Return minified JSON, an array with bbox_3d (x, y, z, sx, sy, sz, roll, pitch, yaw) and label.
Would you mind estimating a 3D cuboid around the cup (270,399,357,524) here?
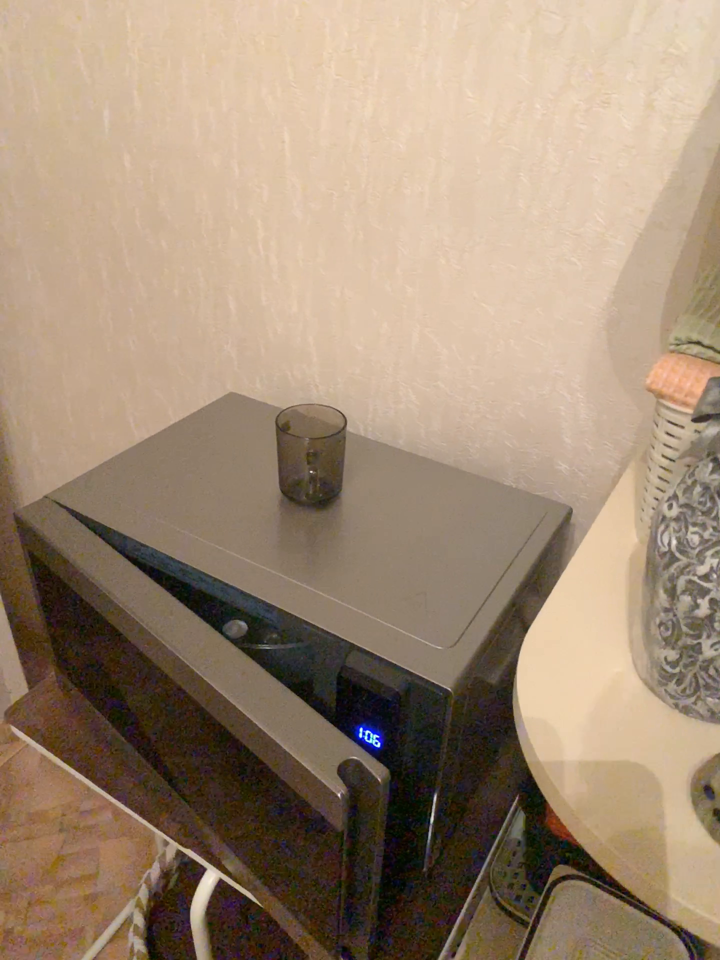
[{"bbox_3d":[-0.046,-0.021,0.742,0.080,0.079,0.111,0,32,-3],"label":"cup"}]
